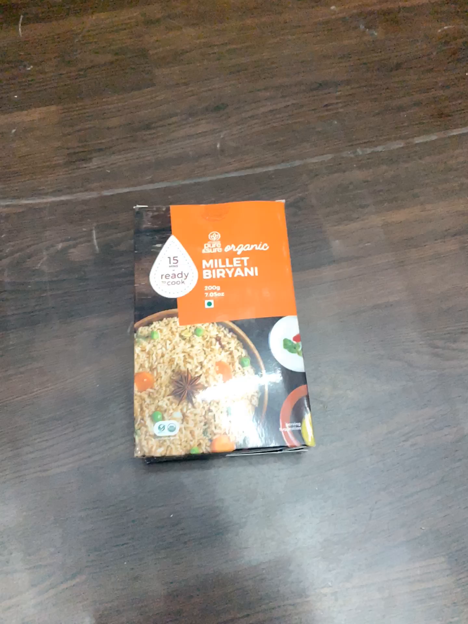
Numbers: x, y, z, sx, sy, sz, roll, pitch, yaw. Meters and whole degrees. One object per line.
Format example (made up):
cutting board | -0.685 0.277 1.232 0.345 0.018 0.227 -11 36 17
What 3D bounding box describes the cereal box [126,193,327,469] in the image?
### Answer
cereal box | -0.010 0.010 0.317 0.110 0.050 0.170 -2 70 -5
